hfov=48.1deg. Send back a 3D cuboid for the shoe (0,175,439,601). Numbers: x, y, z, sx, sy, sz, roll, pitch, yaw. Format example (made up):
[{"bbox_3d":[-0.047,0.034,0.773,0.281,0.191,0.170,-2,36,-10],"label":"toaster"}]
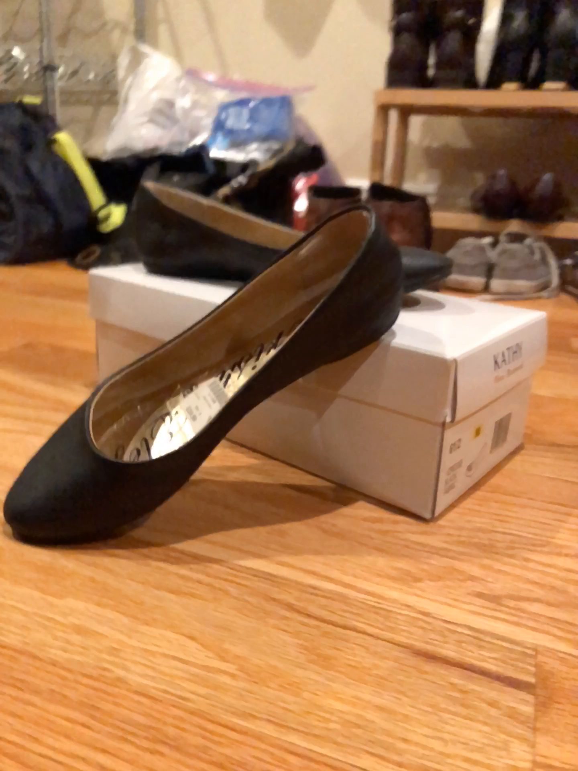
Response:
[{"bbox_3d":[-0.051,-0.002,0.328,0.239,0.060,0.076,-35,42,-1],"label":"shoe"}]

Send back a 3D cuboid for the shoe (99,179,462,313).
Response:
[{"bbox_3d":[-0.014,-0.104,0.445,0.239,0.060,0.076,13,21,27],"label":"shoe"}]
